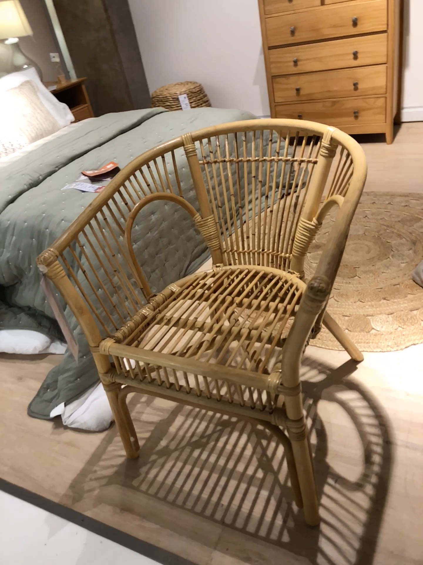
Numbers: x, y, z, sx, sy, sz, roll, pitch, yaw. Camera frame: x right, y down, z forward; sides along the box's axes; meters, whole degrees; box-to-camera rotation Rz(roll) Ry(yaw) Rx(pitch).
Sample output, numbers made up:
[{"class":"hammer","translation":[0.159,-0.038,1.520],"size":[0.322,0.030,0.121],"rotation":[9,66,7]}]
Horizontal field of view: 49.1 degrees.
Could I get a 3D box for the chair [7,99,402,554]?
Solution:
[{"class":"chair","translation":[0.086,0.044,1.140],"size":[0.591,0.754,0.634],"rotation":[8,36,29]}]
